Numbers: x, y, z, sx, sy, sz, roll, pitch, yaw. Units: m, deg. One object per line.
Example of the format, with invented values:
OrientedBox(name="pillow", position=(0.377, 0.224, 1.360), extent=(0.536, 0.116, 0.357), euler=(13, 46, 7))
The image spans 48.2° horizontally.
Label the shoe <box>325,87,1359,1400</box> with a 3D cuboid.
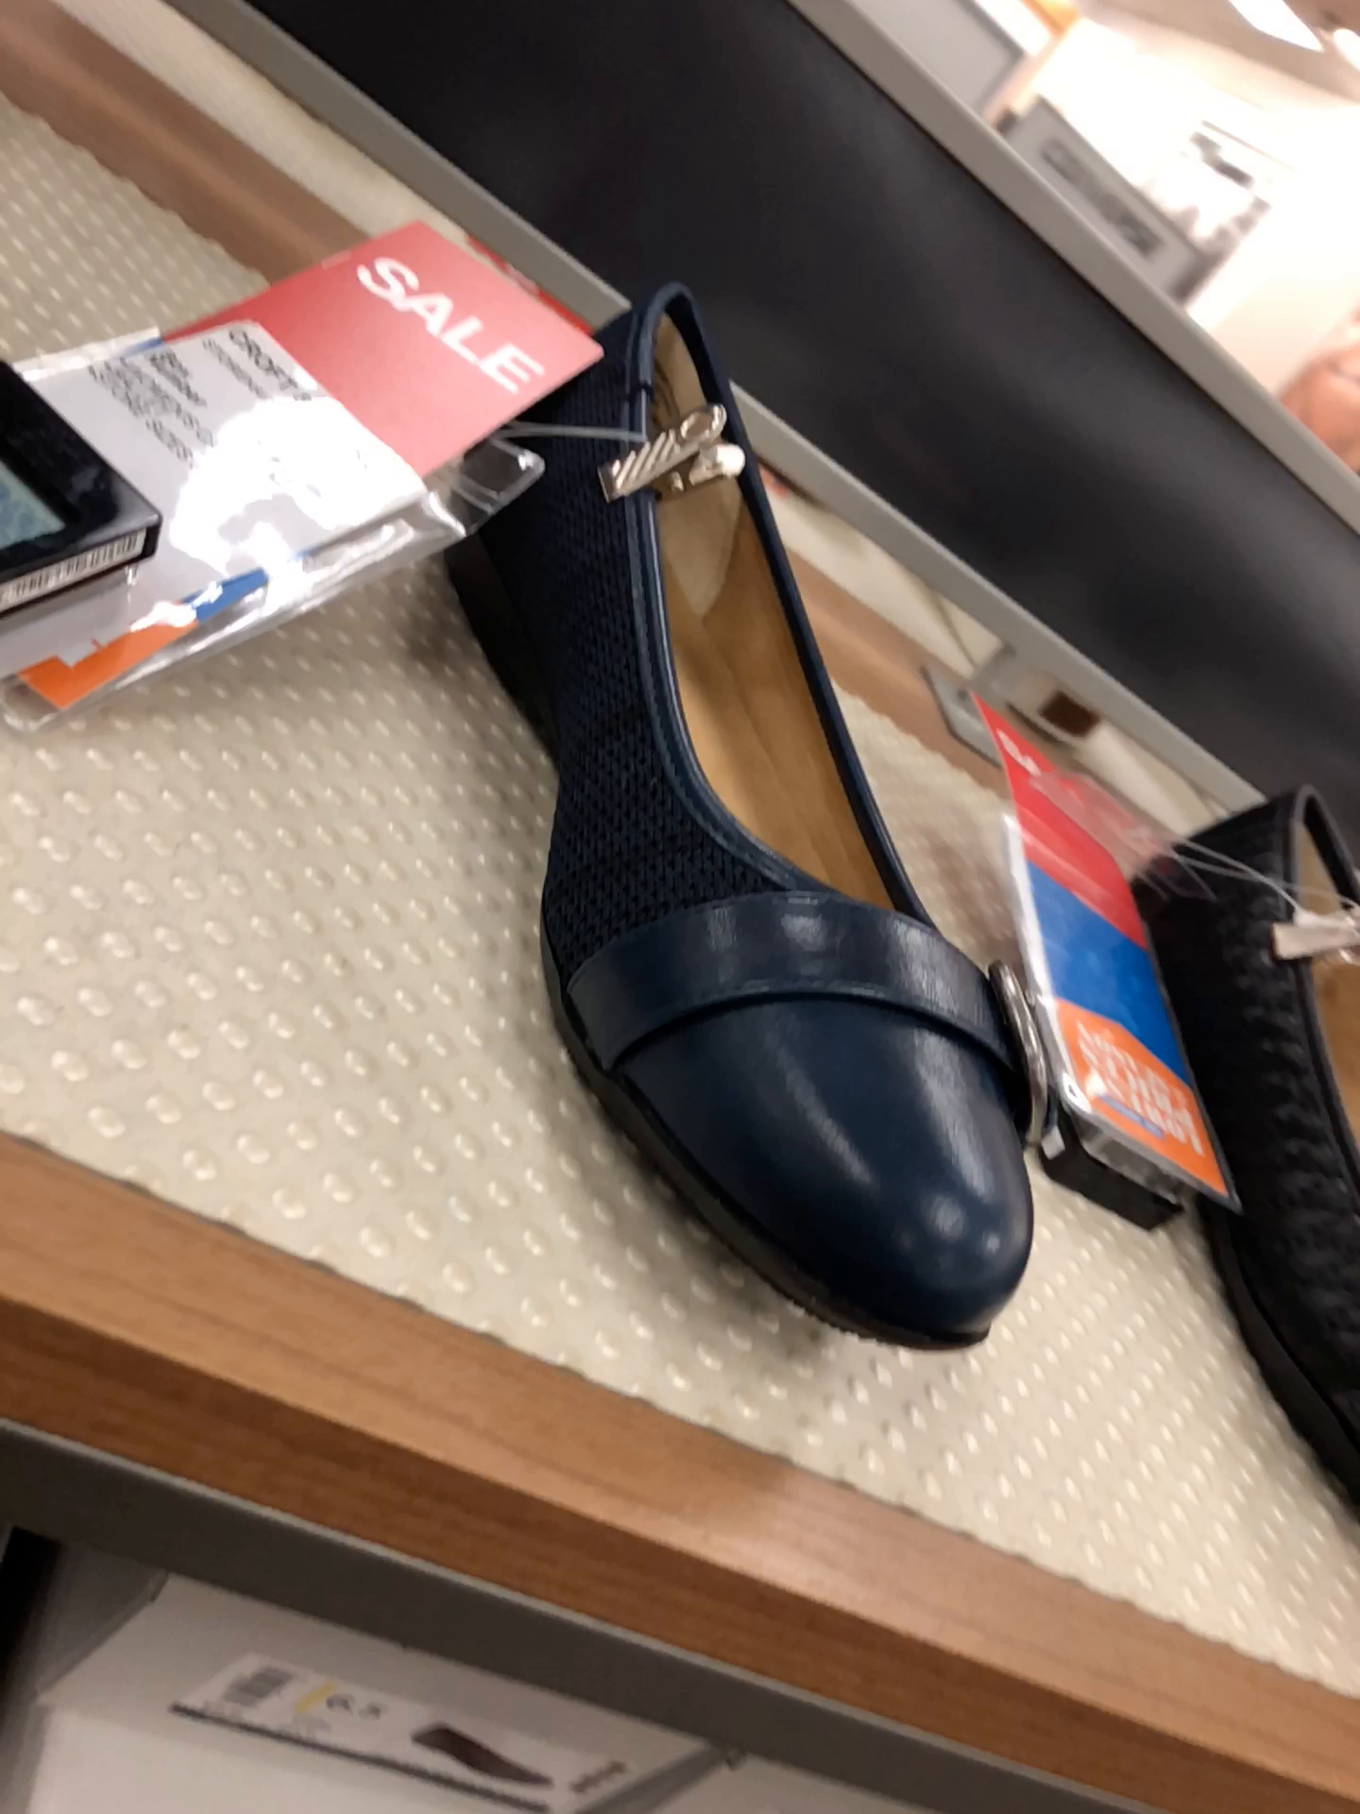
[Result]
OrientedBox(name="shoe", position=(0.011, -0.051, 0.306), extent=(0.088, 0.081, 0.279), euler=(19, 35, -40))
